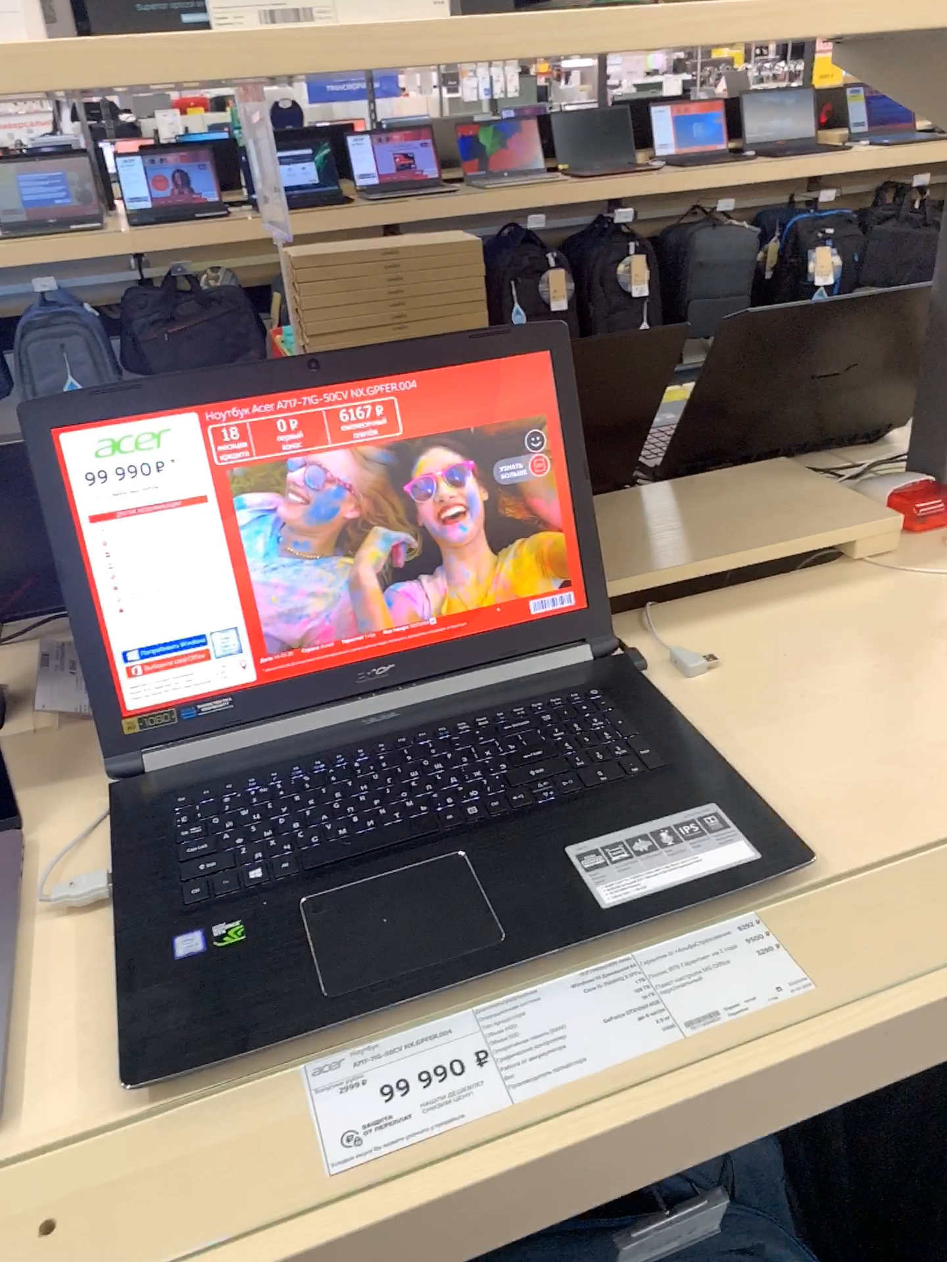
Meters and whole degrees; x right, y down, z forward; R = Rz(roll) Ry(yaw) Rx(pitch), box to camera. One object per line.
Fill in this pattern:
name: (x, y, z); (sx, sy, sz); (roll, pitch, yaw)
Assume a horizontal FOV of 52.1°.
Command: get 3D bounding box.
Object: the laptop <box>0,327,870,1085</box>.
laptop: (-0.051, -0.008, 0.628); (0.406, 0.248, 0.364); (-13, 31, -16)
